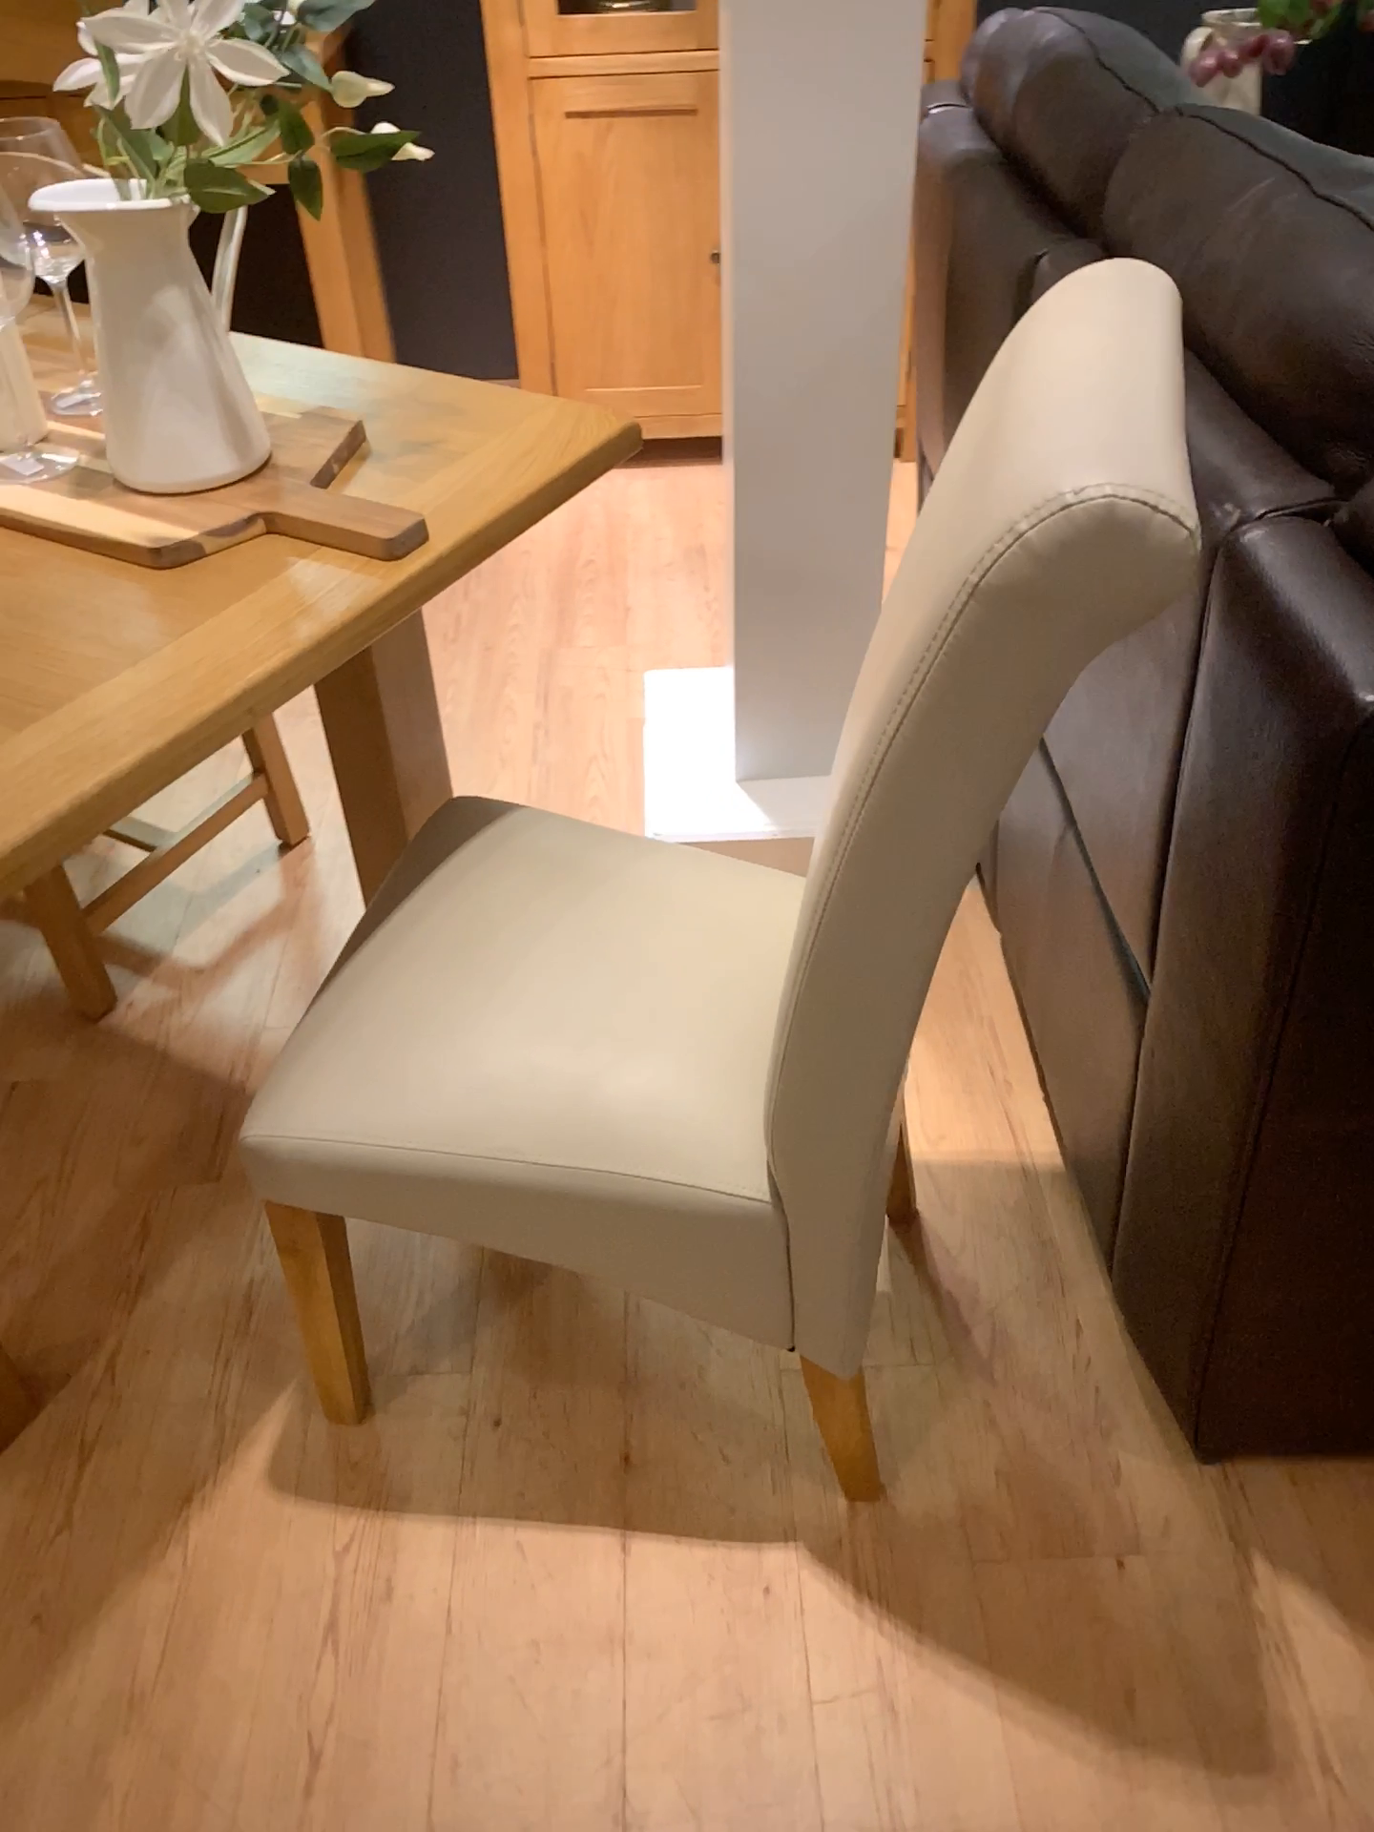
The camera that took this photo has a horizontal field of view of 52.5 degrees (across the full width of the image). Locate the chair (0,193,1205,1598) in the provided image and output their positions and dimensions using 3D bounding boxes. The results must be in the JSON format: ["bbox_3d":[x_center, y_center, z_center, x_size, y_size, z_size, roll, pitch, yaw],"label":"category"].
[{"bbox_3d":[-0.027,0.016,1.104,0.634,0.943,0.480,8,41,12],"label":"chair"}]
